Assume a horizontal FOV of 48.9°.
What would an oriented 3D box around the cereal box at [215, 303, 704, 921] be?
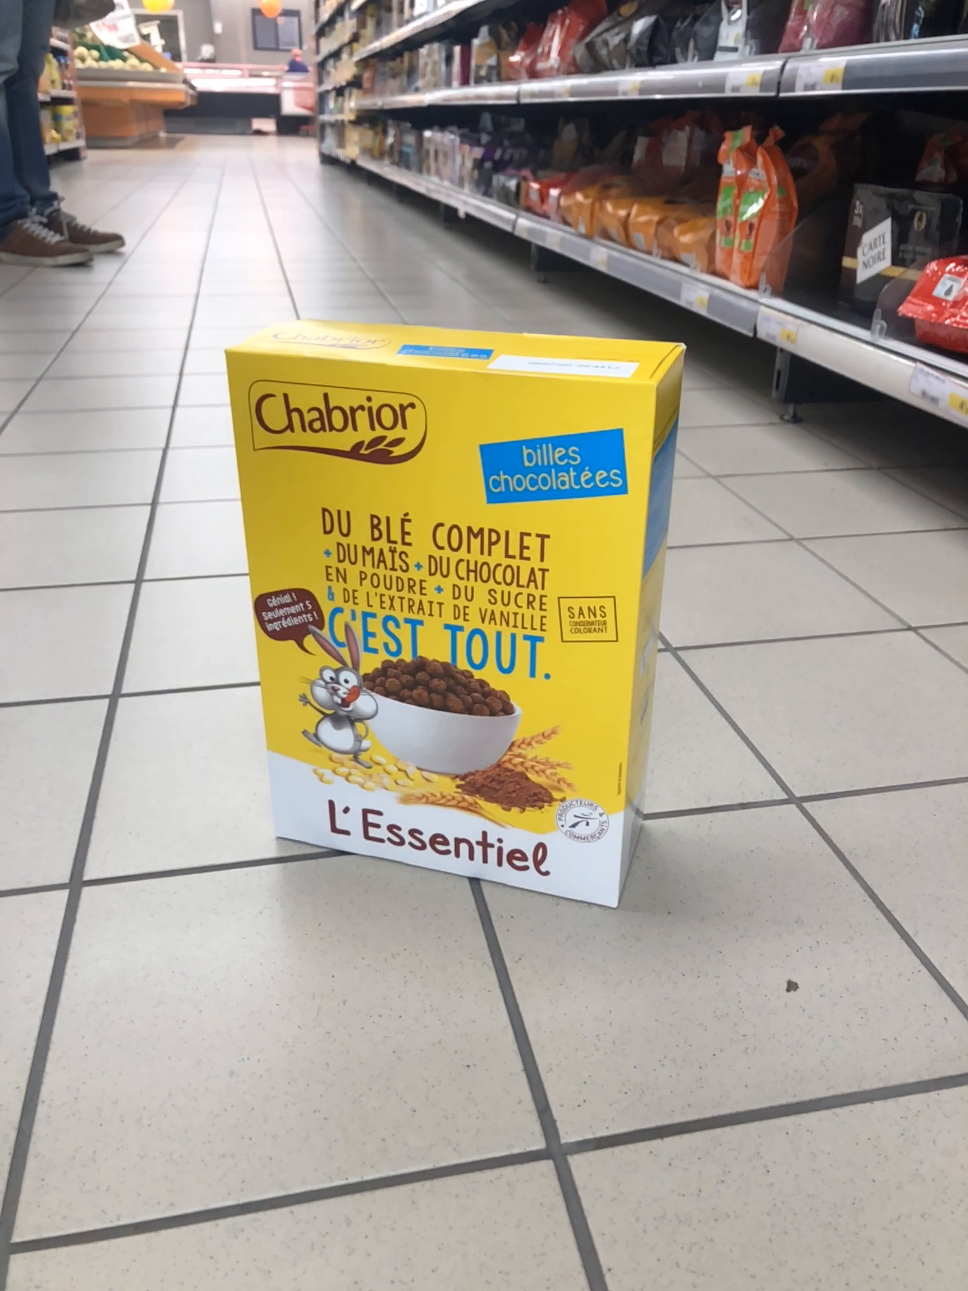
[{"bbox_3d":[-0.011,-0.020,0.533,0.200,0.269,0.091,9,26,16],"label":"cereal box"}]
